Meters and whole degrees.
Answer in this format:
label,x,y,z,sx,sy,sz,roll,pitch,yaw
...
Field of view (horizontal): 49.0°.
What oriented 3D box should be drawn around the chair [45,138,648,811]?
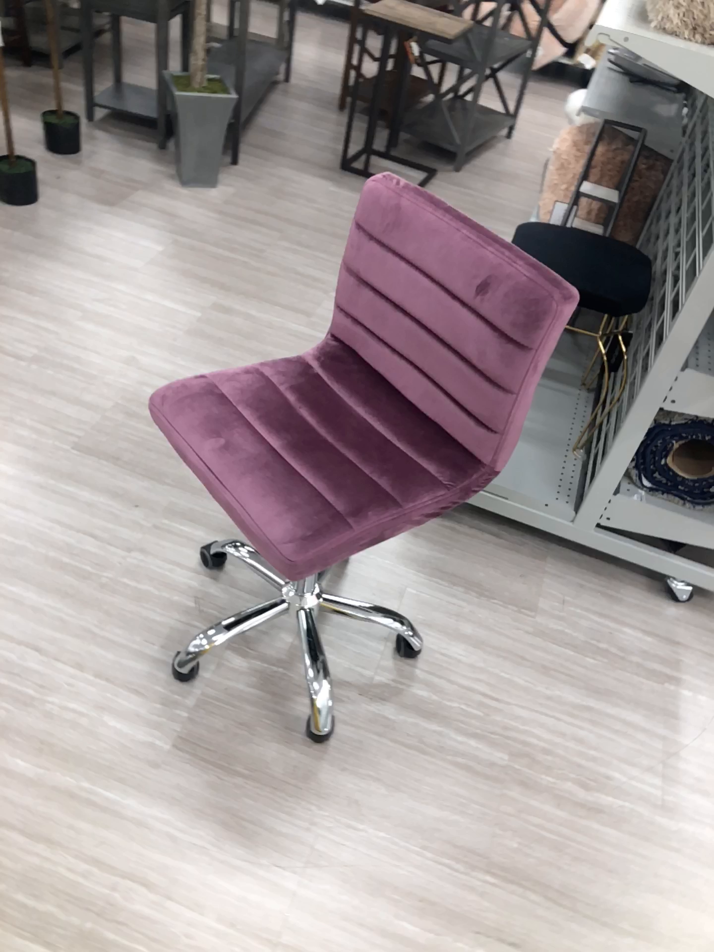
label,x,y,z,sx,sy,sz,roll,pitch,yaw
chair,-0.074,-0.022,1.316,0.579,0.800,0.588,-24,53,-34
